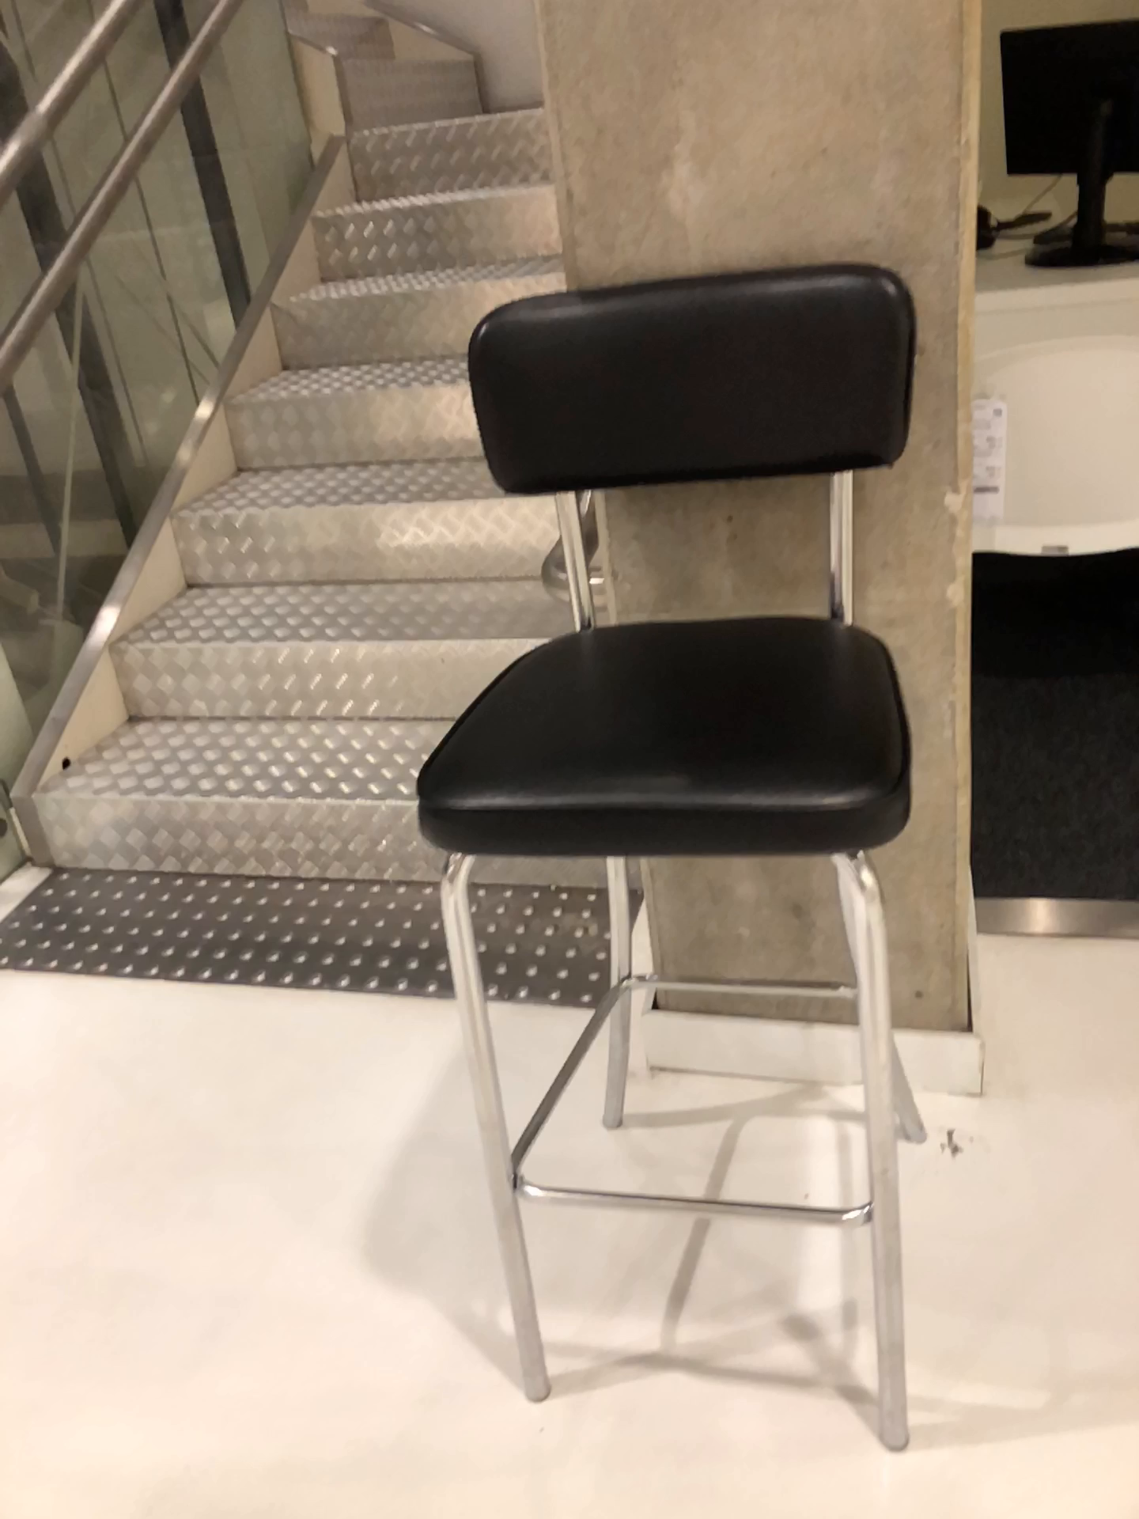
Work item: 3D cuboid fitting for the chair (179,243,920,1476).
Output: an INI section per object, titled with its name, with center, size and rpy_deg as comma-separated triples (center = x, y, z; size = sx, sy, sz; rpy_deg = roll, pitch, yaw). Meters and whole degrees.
[chair]
center = 0.084, 0.105, 1.148
size = 0.450, 0.983, 0.443
rpy_deg = 0, 28, 16
